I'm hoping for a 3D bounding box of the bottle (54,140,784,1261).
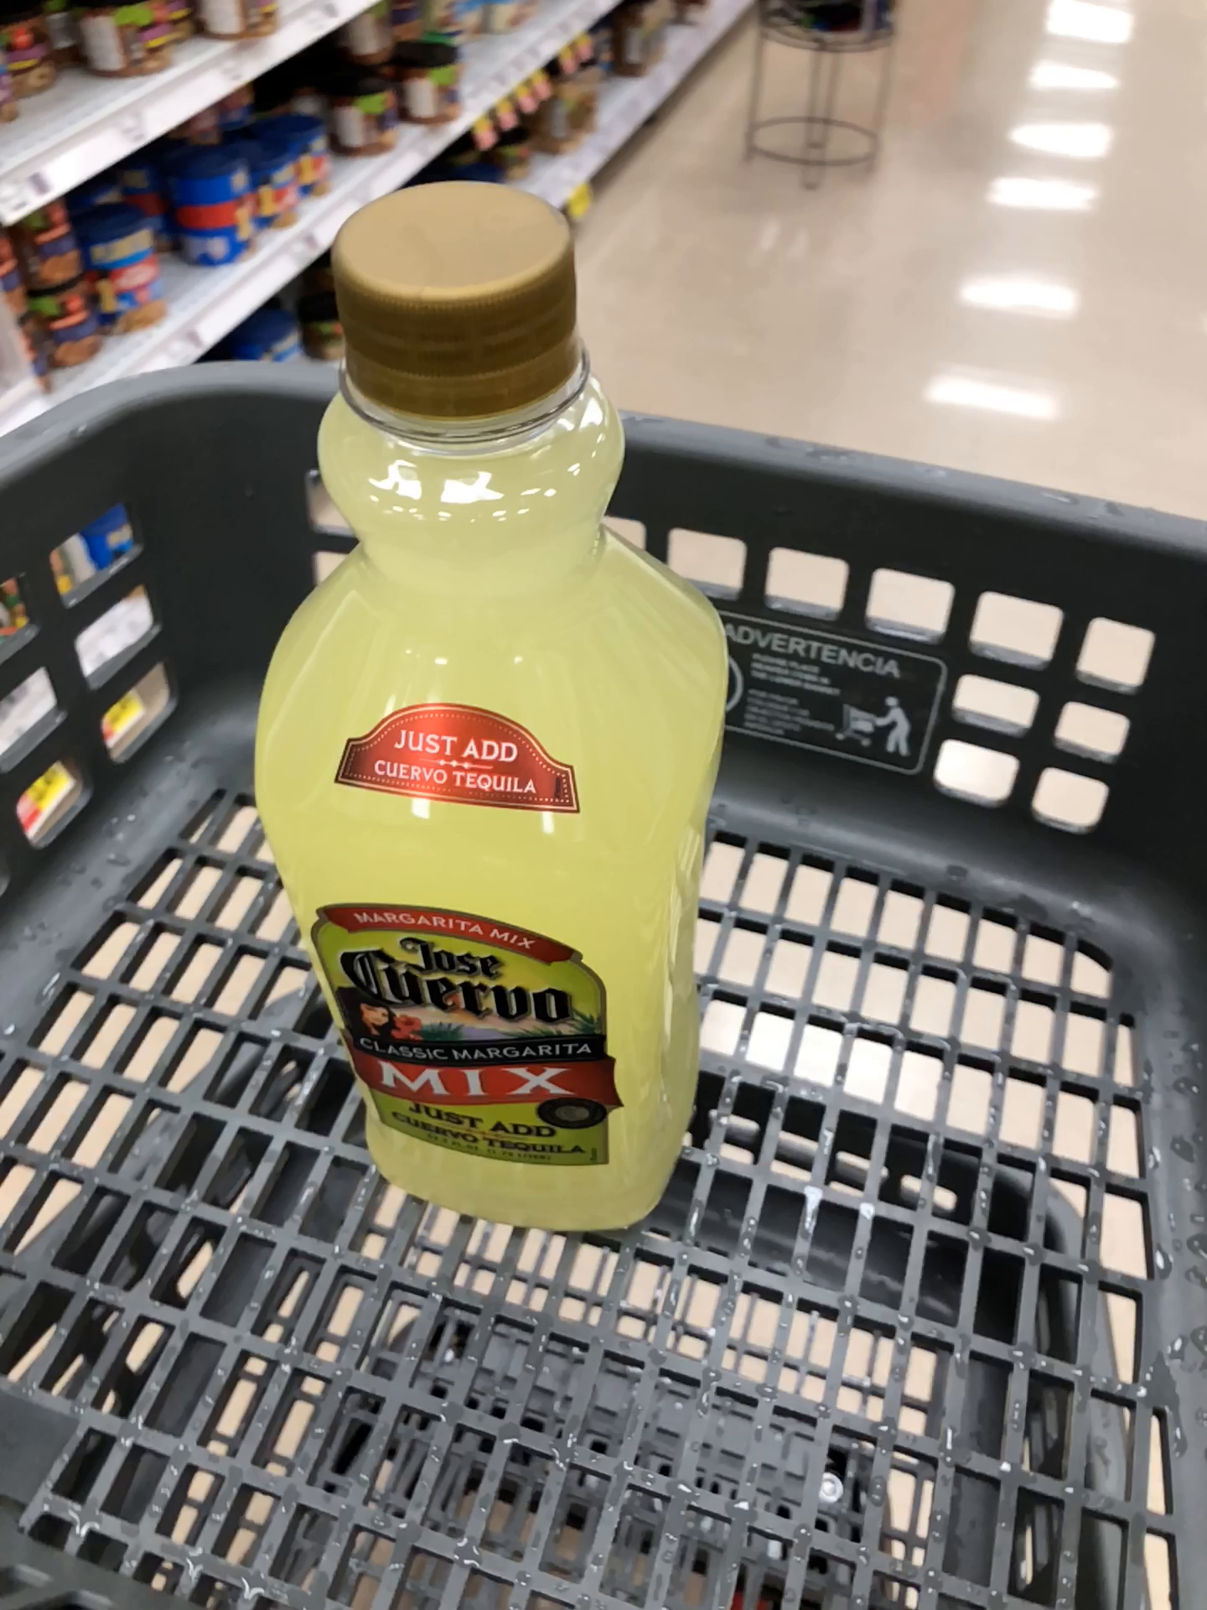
[{"bbox_3d":[-0.029,-0.001,0.337,0.110,0.279,0.080,9,45,9],"label":"bottle"}]
